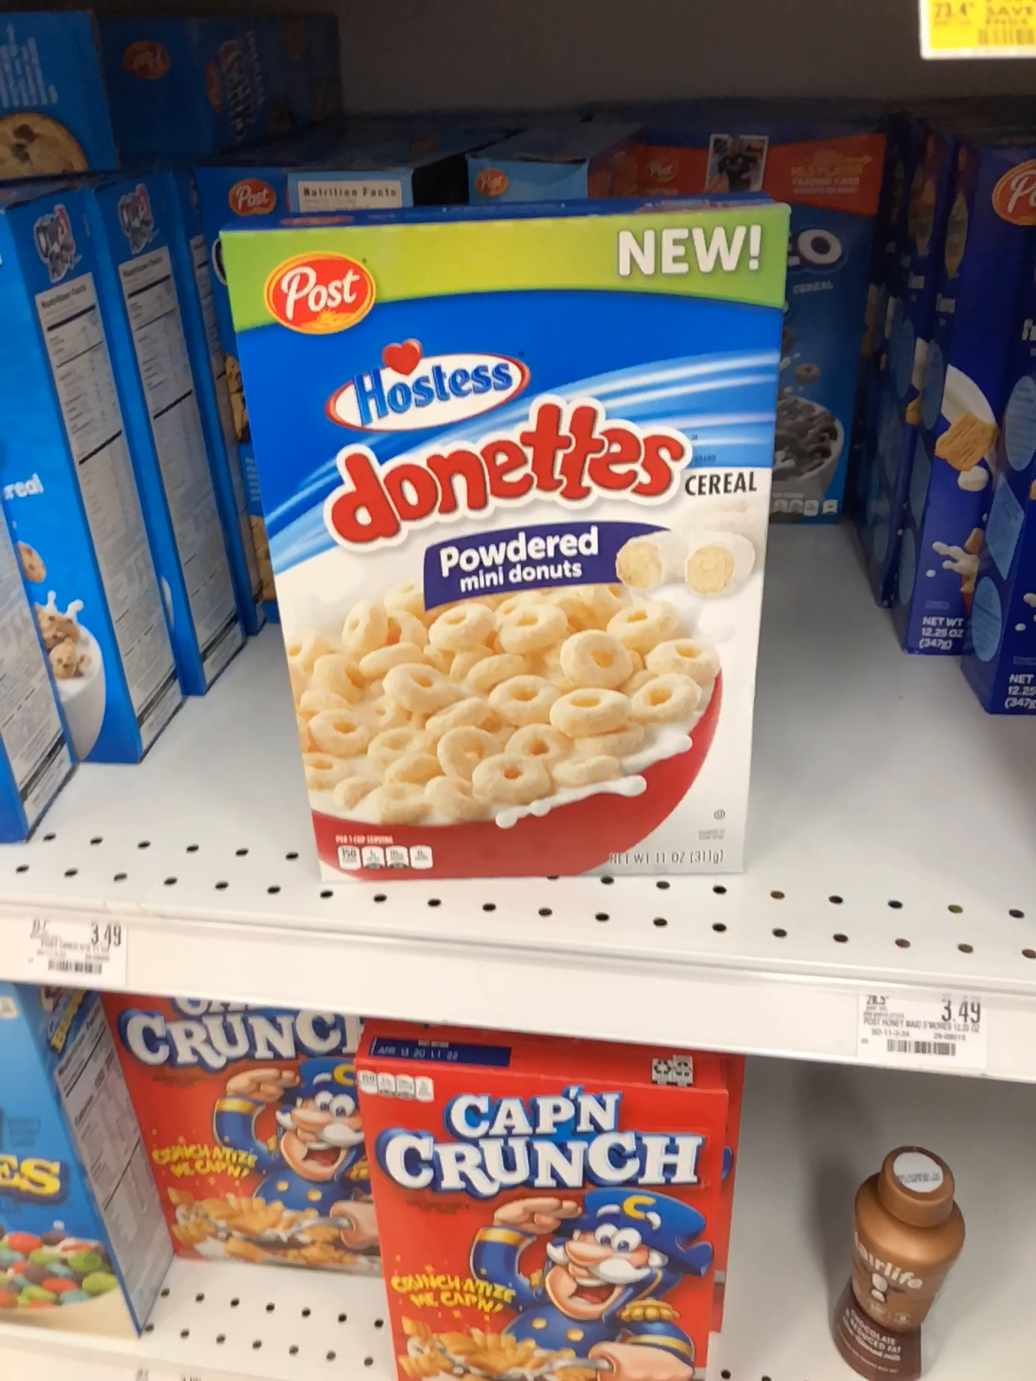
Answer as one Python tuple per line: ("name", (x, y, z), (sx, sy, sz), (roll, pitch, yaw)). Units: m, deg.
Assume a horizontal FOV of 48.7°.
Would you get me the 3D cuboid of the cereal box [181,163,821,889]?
("cereal box", (0.000, -0.049, 0.429), (0.190, 0.259, 0.060), (-1, 29, 2))
